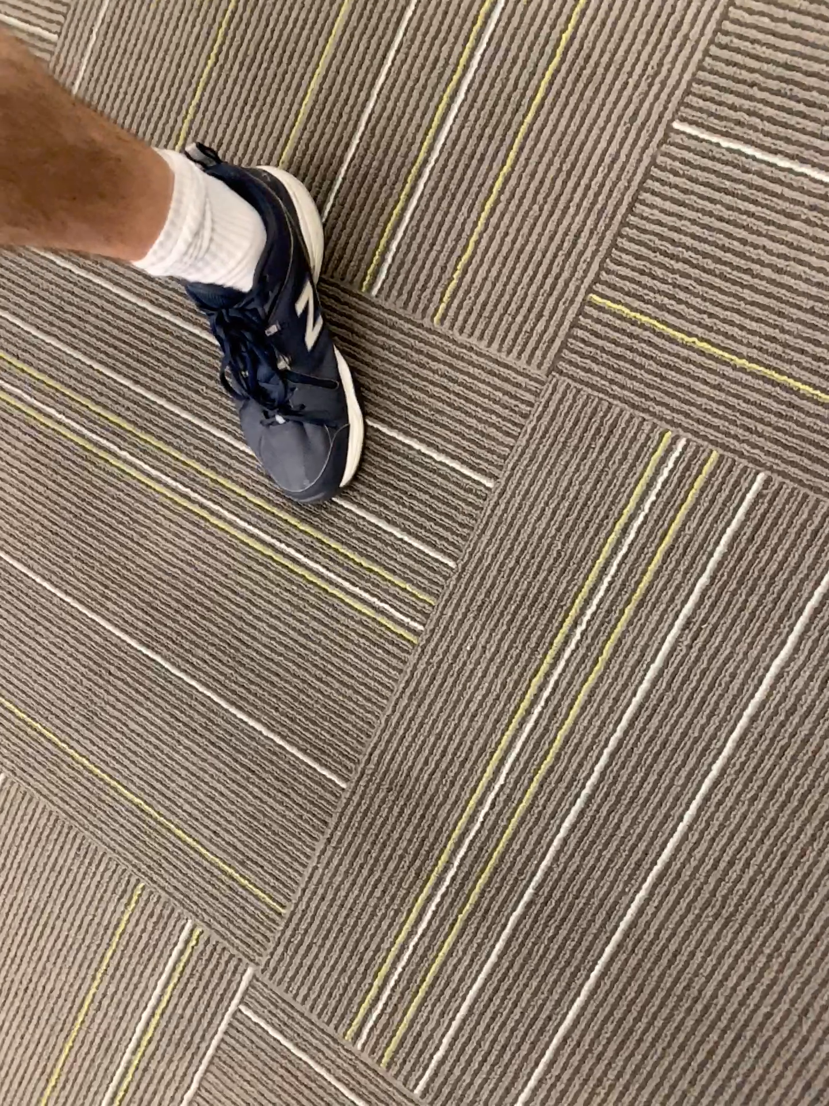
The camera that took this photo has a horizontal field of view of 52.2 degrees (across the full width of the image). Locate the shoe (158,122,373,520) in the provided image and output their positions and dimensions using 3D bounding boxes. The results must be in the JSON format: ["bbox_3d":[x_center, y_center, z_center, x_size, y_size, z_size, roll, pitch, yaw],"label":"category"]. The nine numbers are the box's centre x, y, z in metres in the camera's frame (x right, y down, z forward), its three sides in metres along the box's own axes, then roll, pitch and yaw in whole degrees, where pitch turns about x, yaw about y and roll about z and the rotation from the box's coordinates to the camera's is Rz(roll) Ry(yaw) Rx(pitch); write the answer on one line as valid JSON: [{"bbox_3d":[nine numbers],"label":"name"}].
[{"bbox_3d":[-0.131,-0.192,0.747,0.130,0.070,0.310,-8,89,21],"label":"shoe"}]
